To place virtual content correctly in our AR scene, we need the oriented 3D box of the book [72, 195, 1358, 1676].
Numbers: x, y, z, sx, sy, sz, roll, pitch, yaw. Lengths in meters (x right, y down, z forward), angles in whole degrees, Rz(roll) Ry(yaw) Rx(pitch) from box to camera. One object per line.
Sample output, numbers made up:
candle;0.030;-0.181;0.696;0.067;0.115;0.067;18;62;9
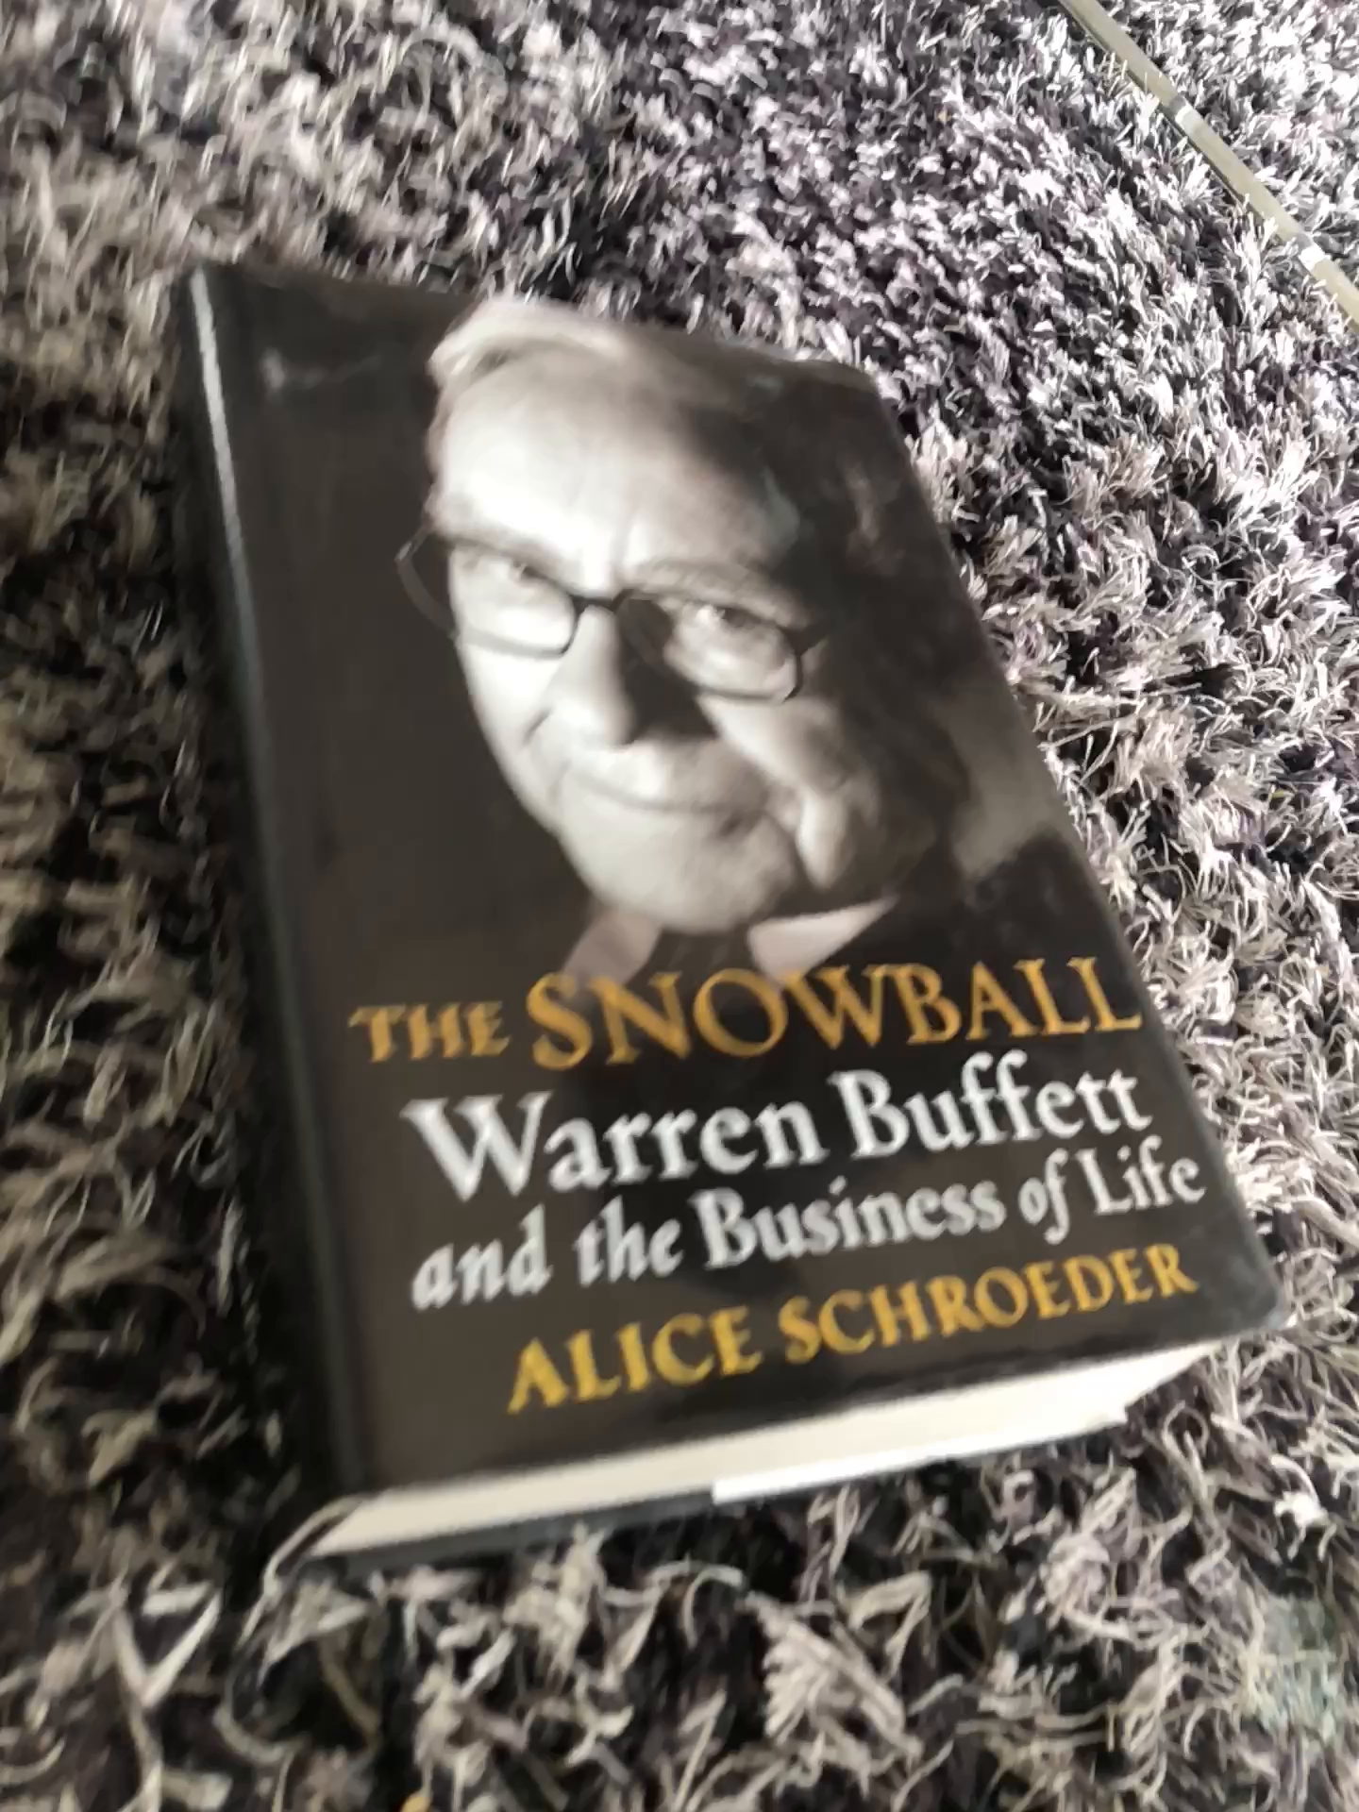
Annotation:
book;-0.010;-0.014;0.289;0.181;0.060;0.250;0;57;-28
